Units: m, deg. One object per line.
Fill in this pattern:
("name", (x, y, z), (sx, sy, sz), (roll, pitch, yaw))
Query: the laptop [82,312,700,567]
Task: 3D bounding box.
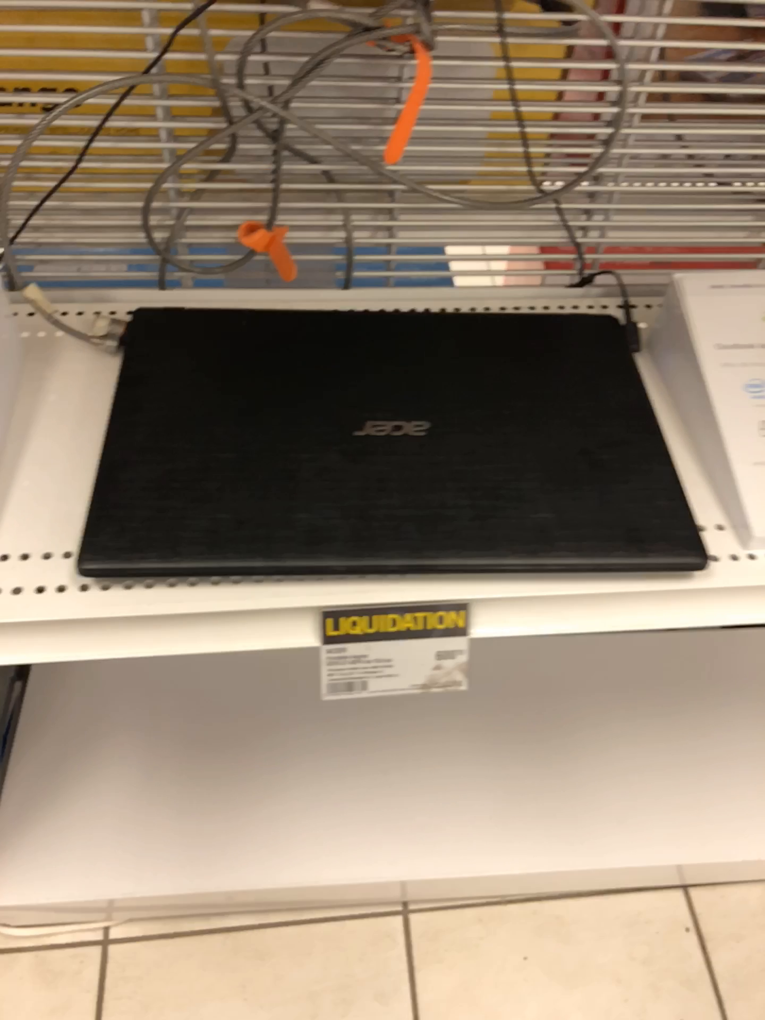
("laptop", (0.006, -0.062, 0.594), (0.374, 0.003, 0.248), (0, 48, -5))
